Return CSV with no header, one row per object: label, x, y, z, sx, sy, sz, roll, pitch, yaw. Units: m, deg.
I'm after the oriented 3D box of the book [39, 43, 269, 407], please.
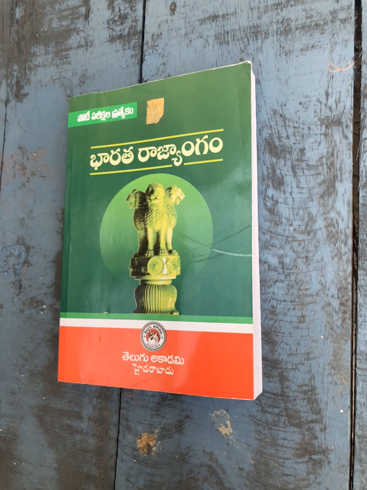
book,-0.022,-0.014,0.302,0.160,0.040,0.230,-2,82,21
